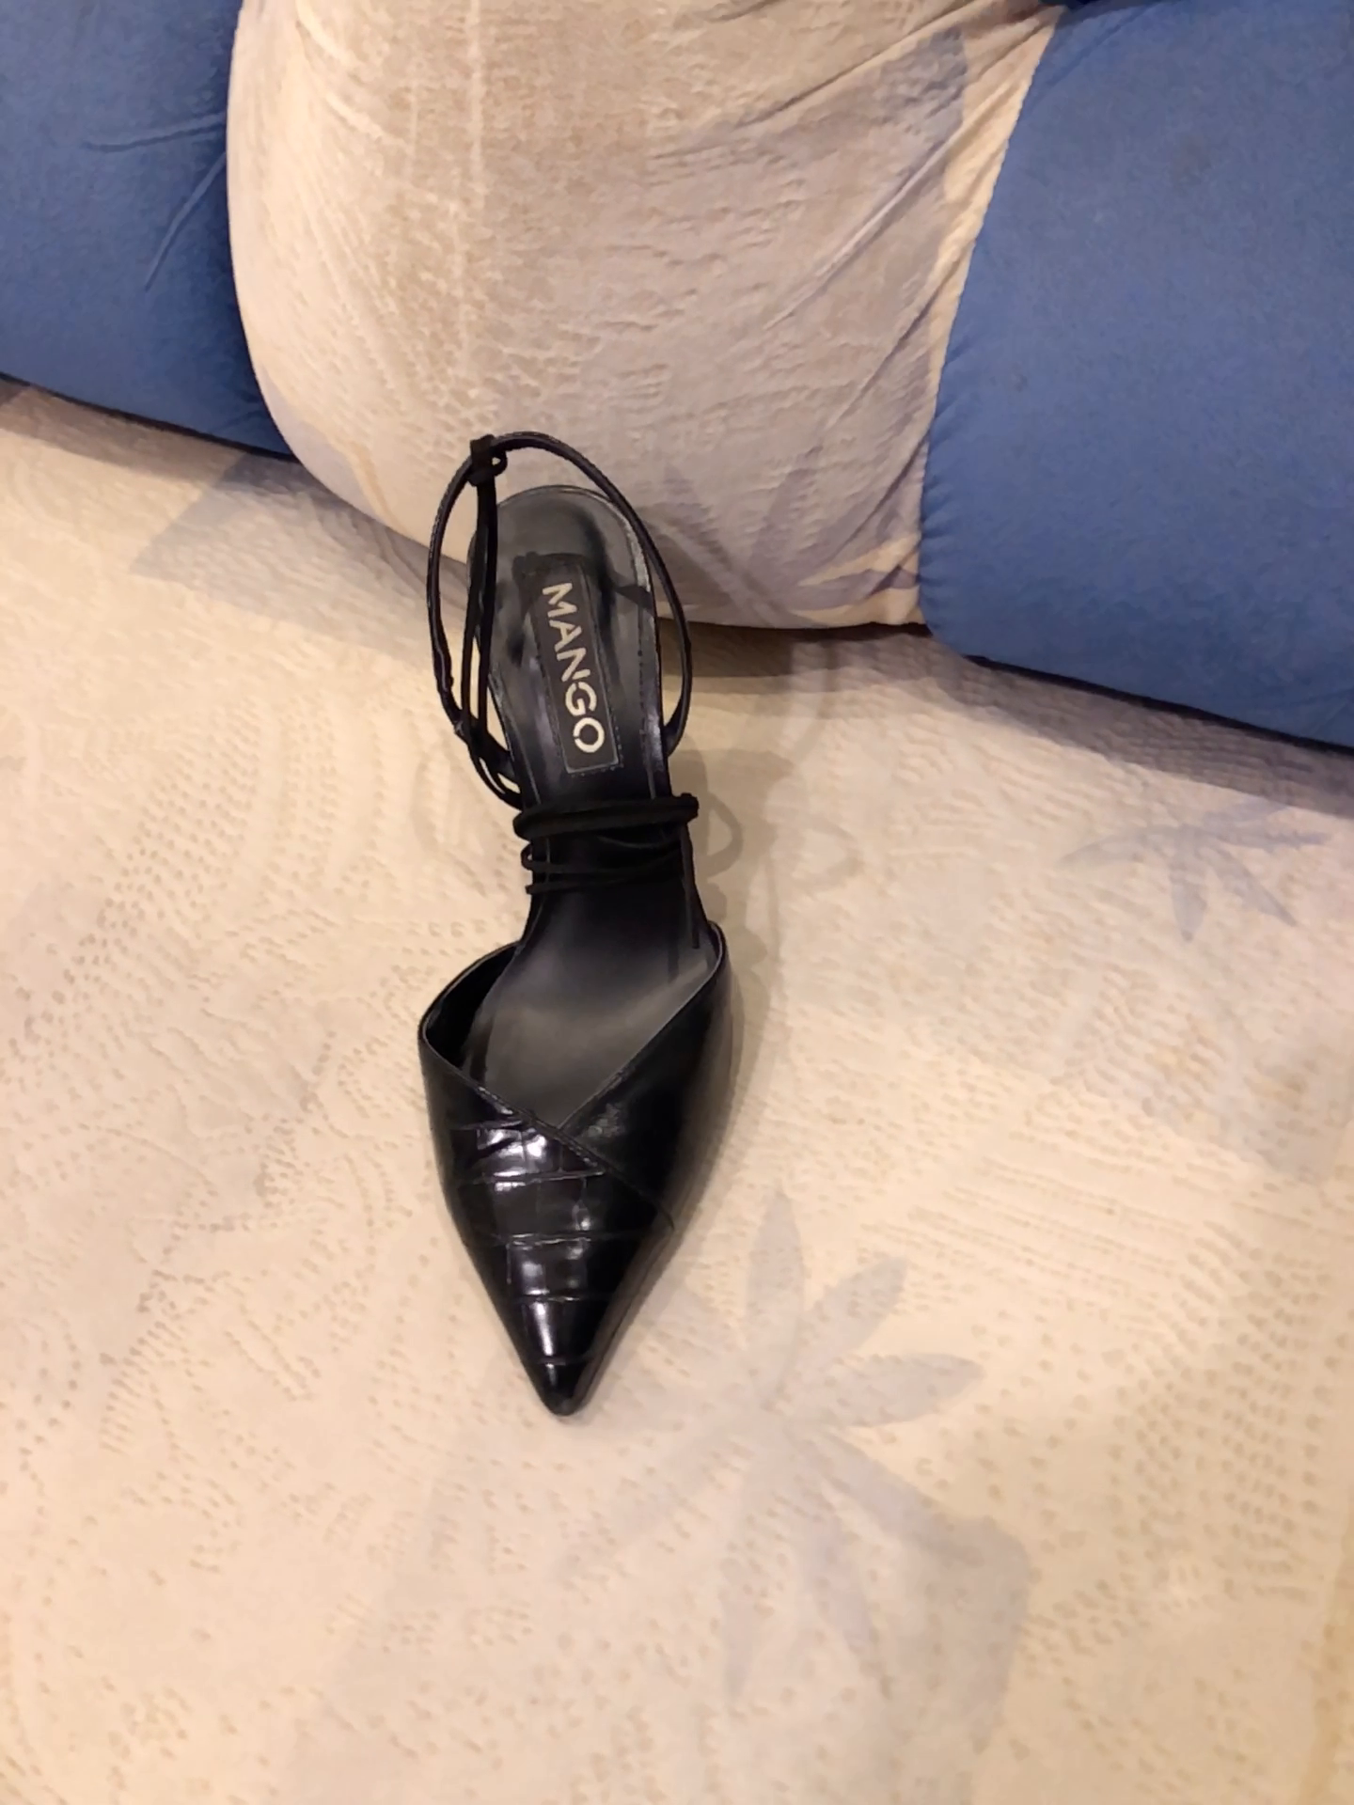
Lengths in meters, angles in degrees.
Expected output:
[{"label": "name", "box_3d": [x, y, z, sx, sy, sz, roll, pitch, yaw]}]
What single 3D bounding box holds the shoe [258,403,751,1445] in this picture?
[{"label": "shoe", "box_3d": [-0.027, -0.003, 0.382, 0.083, 0.119, 0.241, -2, 53, 4]}]
